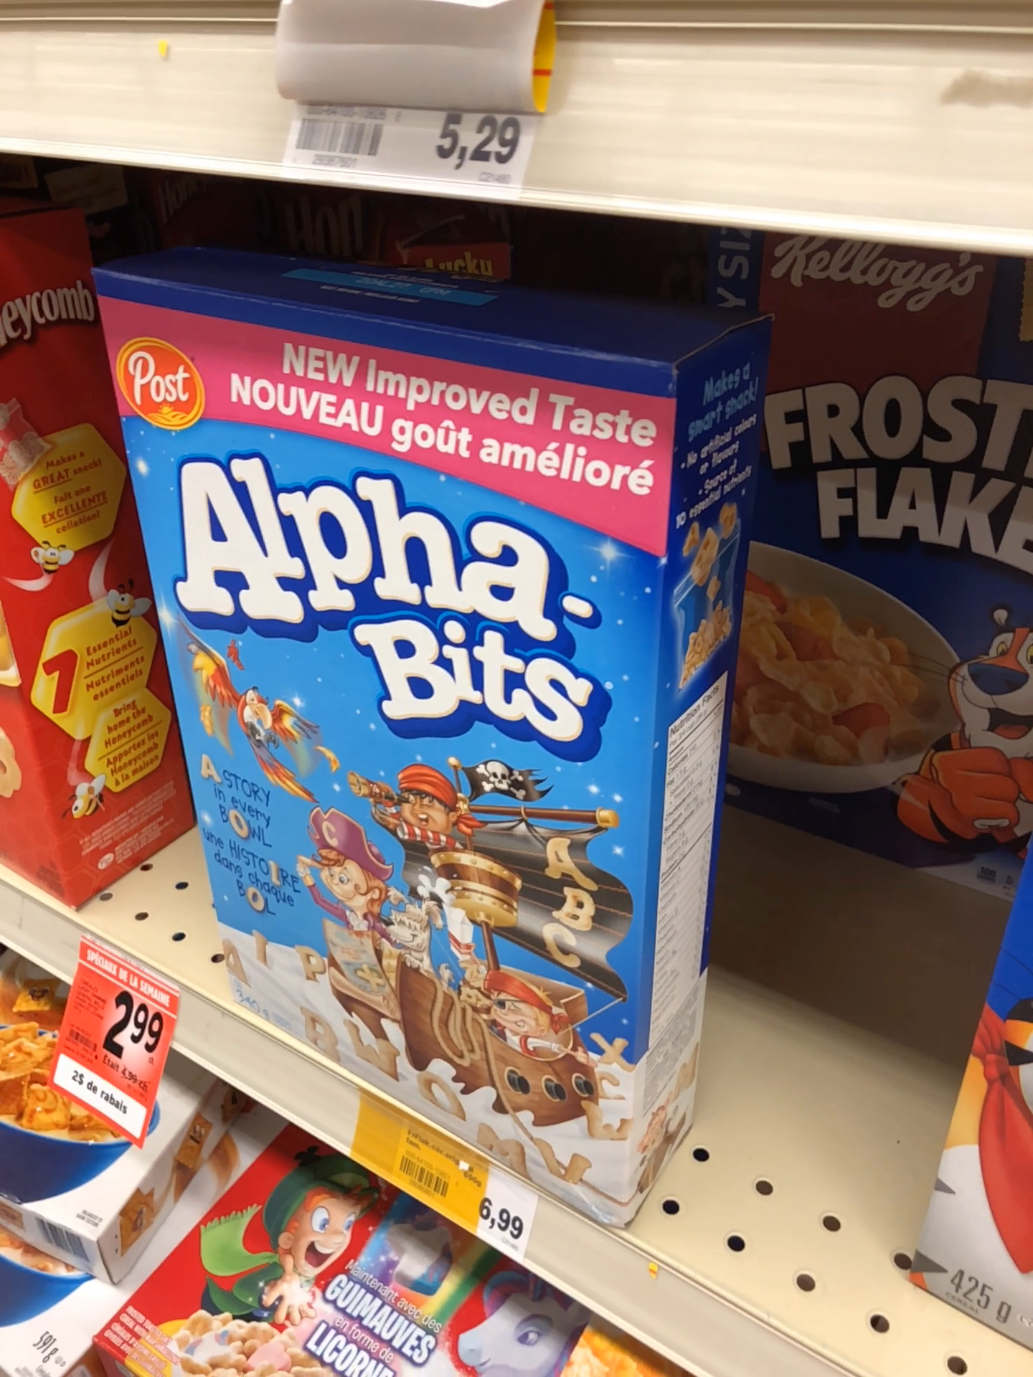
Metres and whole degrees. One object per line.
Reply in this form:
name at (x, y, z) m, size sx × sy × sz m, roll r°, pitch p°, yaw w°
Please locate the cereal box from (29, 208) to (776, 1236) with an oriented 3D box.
cereal box at (-0.035, 0.016, 0.374) m, size 0.201 × 0.298 × 0.060 m, roll 20°, pitch 39°, yaw 30°
